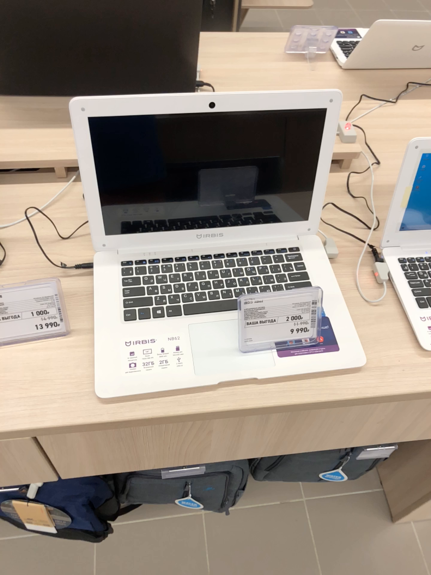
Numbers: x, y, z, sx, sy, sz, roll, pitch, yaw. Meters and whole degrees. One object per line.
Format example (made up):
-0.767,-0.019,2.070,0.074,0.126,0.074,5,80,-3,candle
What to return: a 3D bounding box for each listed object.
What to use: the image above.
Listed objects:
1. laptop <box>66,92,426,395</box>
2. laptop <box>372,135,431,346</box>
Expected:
0.010,-0.063,0.590,0.334,0.207,0.280,-5,53,-9,laptop
0.405,-0.067,0.650,0.259,0.167,0.221,-4,52,-6,laptop
